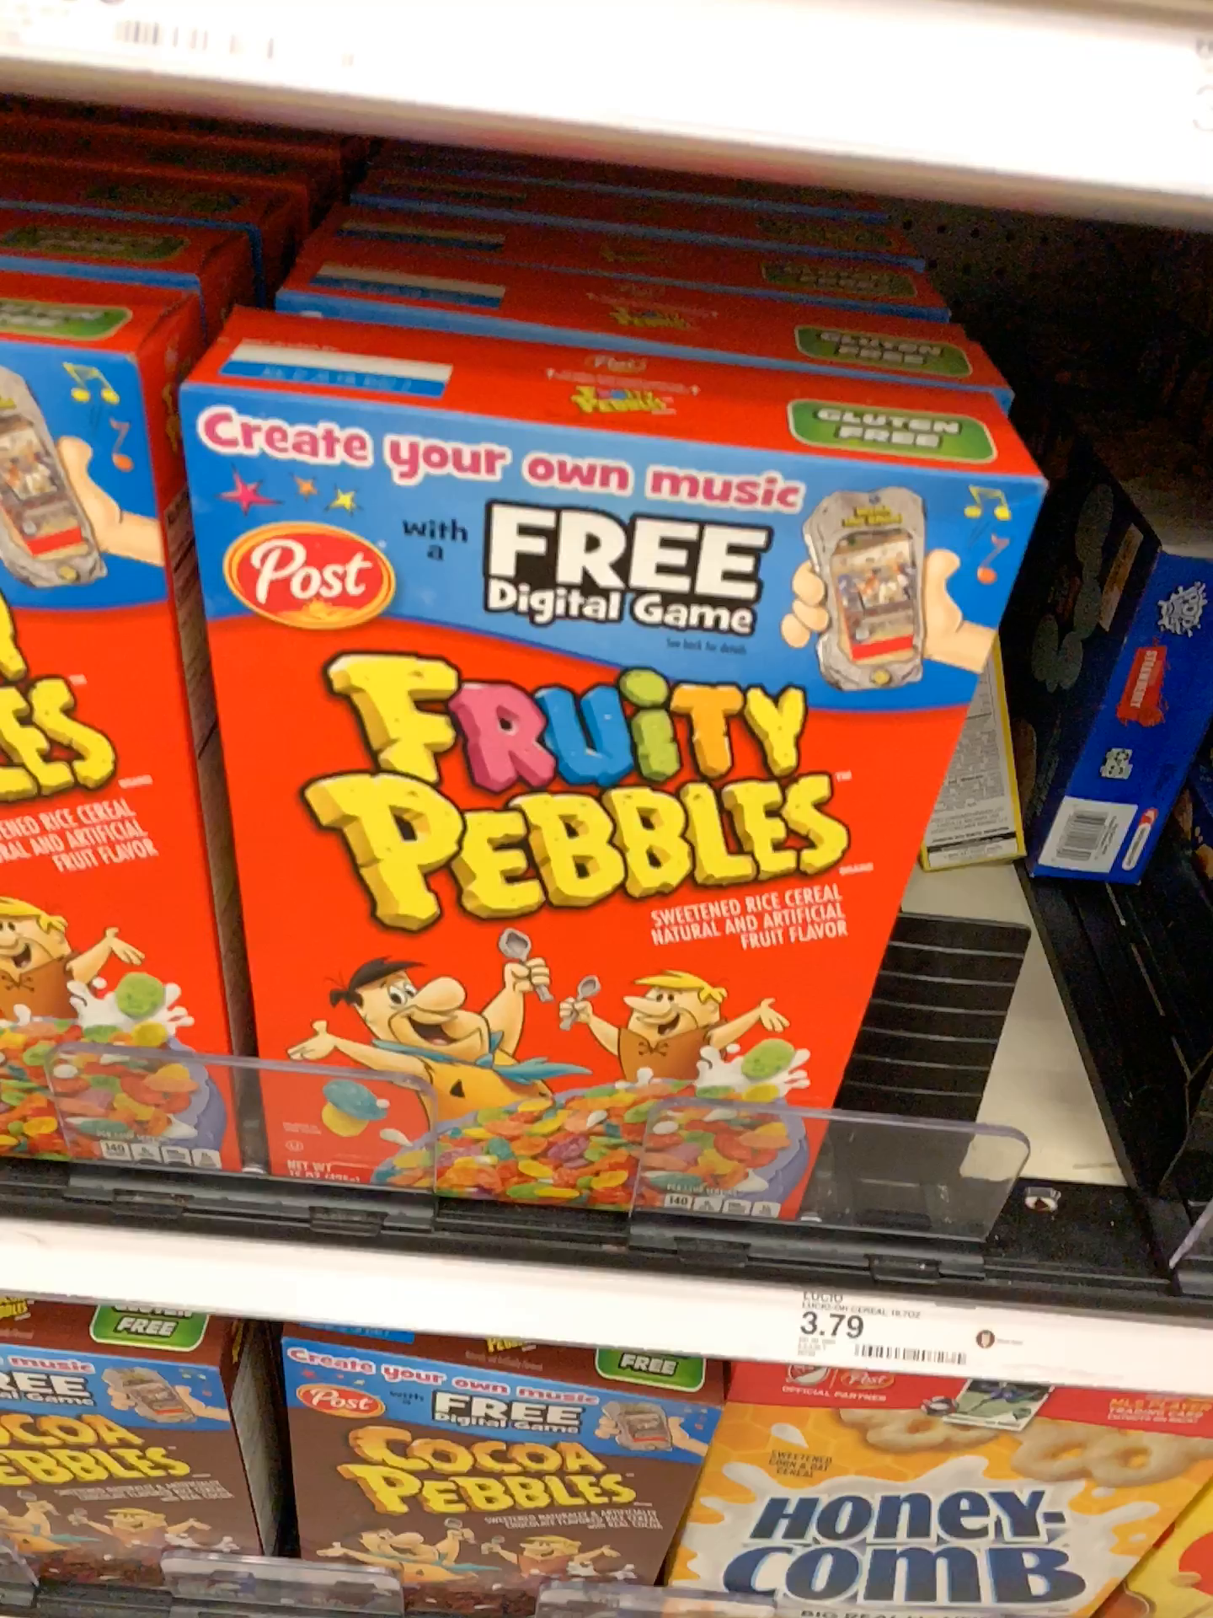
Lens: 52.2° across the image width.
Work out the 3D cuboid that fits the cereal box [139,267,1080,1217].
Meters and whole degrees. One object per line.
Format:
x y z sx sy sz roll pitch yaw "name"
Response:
-0.011 0.006 0.376 0.200 0.289 0.060 6 39 -1 "cereal box"
